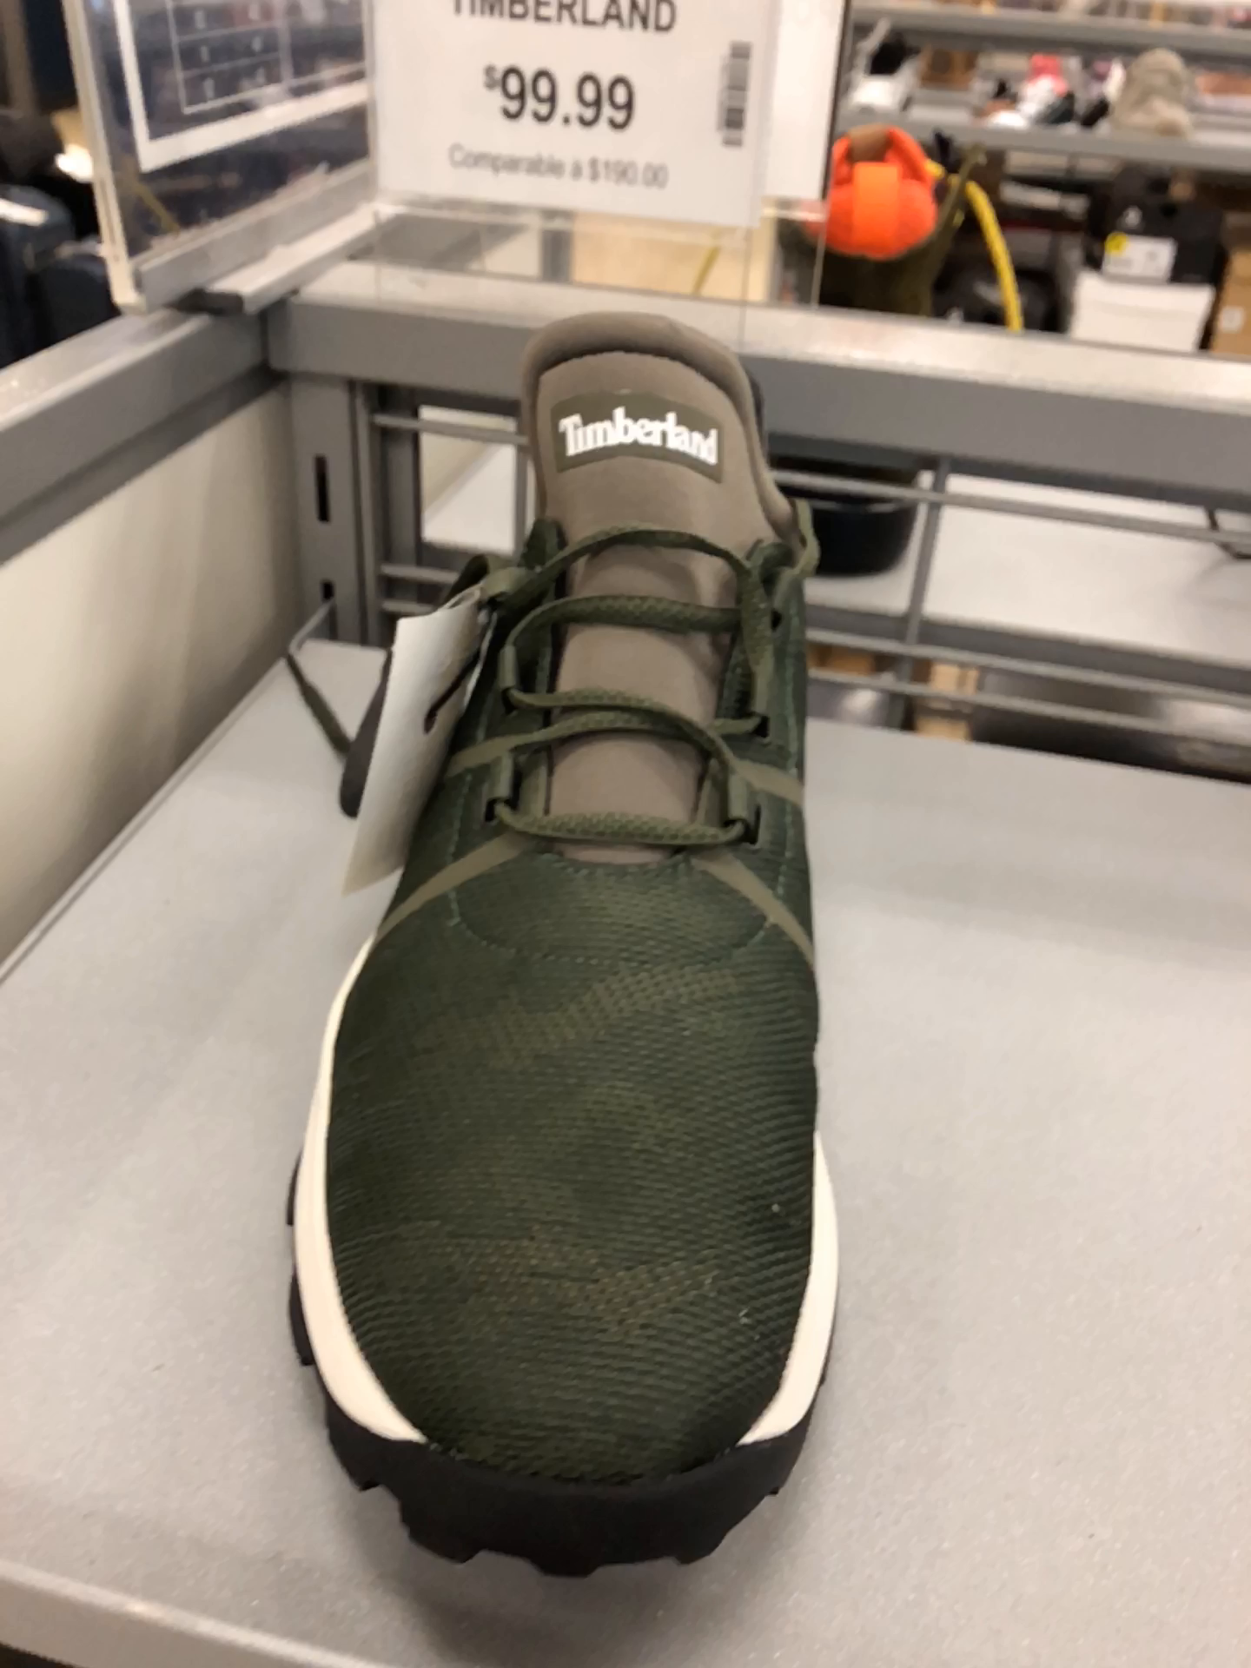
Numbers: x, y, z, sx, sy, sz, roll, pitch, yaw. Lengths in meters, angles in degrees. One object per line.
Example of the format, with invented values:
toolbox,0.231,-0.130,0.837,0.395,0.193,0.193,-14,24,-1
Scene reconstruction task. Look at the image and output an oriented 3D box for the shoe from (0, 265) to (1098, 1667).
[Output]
shoe,-0.010,-0.012,0.317,0.130,0.149,0.313,5,34,1
